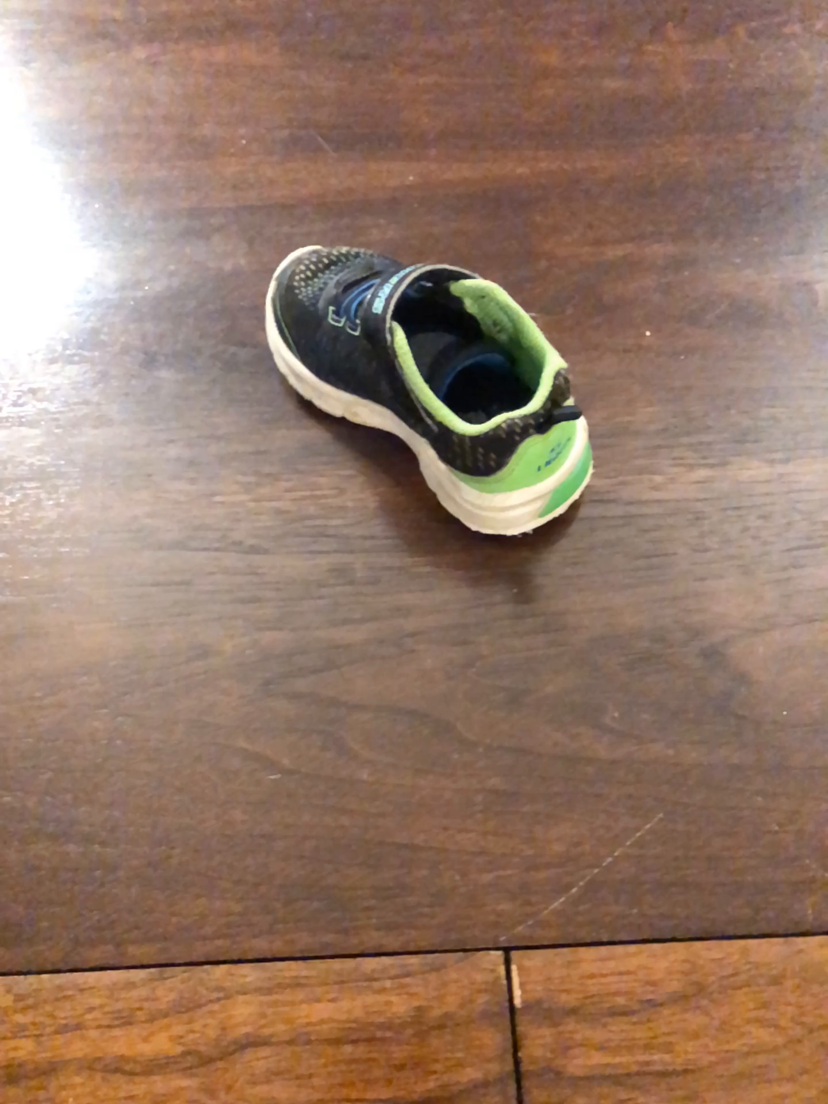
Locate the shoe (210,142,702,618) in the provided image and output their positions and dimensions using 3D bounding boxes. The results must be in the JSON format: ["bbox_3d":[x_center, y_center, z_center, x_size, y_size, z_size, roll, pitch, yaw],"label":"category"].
[{"bbox_3d":[0.011,-0.071,0.368,0.080,0.080,0.170,-41,69,-20],"label":"shoe"}]
